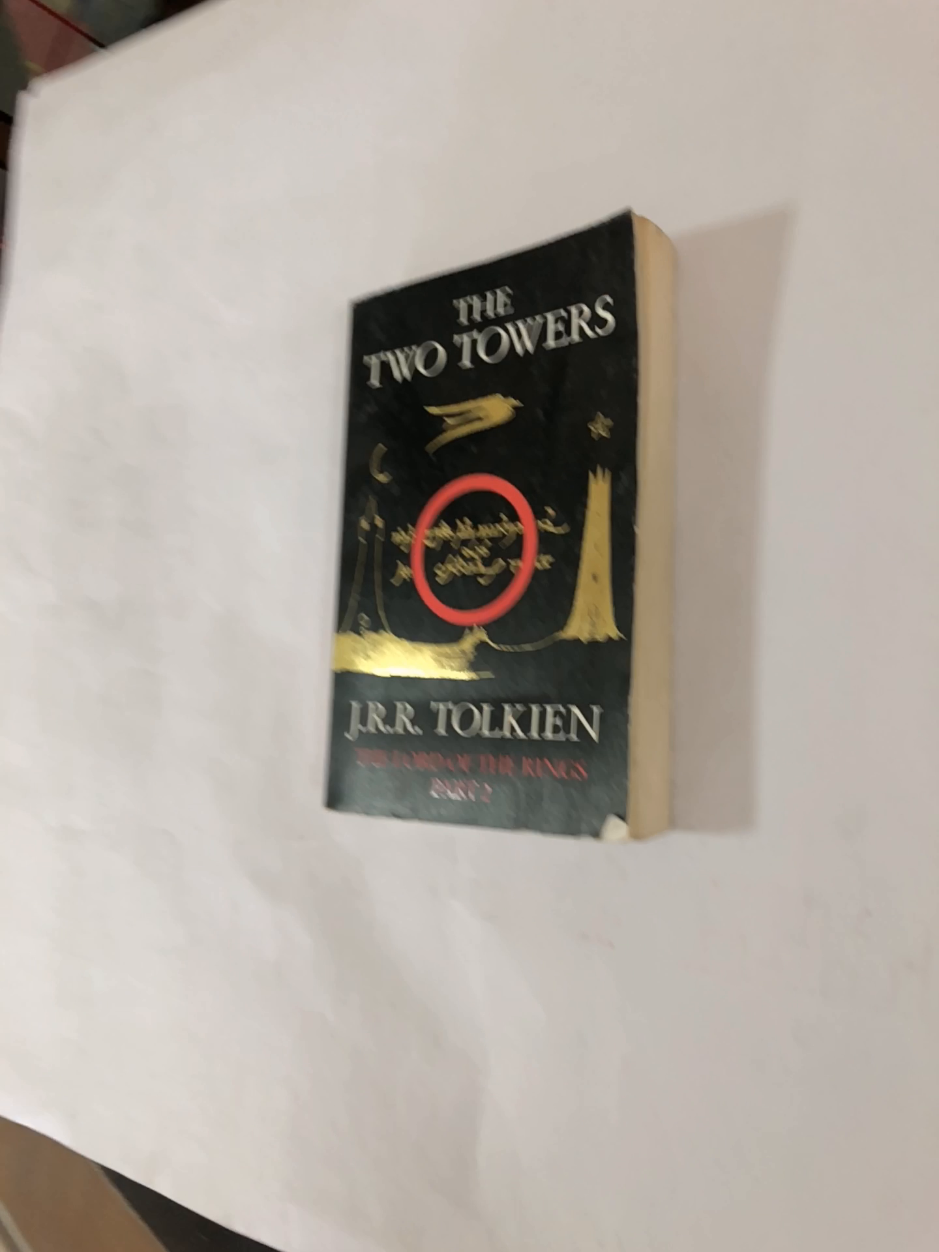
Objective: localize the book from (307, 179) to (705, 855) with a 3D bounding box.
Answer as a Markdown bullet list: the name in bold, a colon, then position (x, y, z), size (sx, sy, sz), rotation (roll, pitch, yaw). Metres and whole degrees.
- **book**: position (0.010, -0.031, 0.352), size (0.130, 0.030, 0.200), rotation (-3, 81, 35)
